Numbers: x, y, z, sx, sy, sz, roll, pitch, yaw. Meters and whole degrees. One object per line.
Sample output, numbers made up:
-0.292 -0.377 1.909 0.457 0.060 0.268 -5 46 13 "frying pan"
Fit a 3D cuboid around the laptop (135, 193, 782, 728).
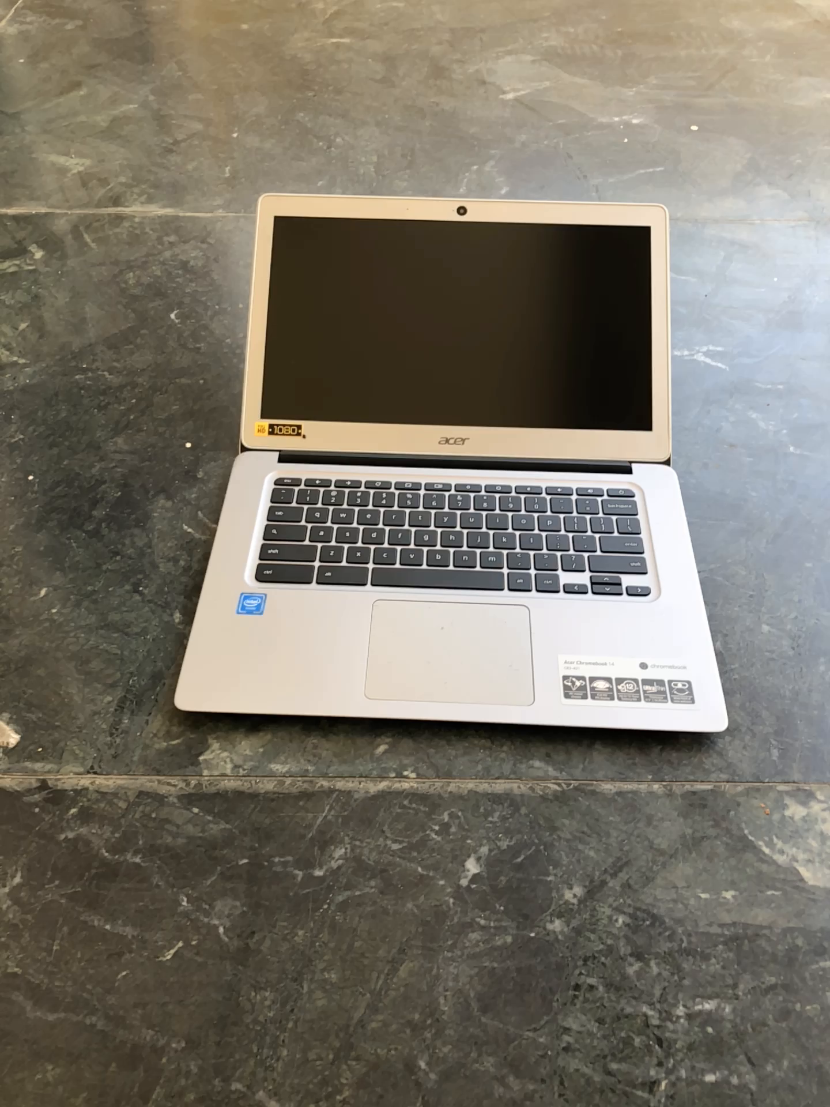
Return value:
0.029 -0.097 0.661 0.338 0.117 0.426 2 48 1 "laptop"
